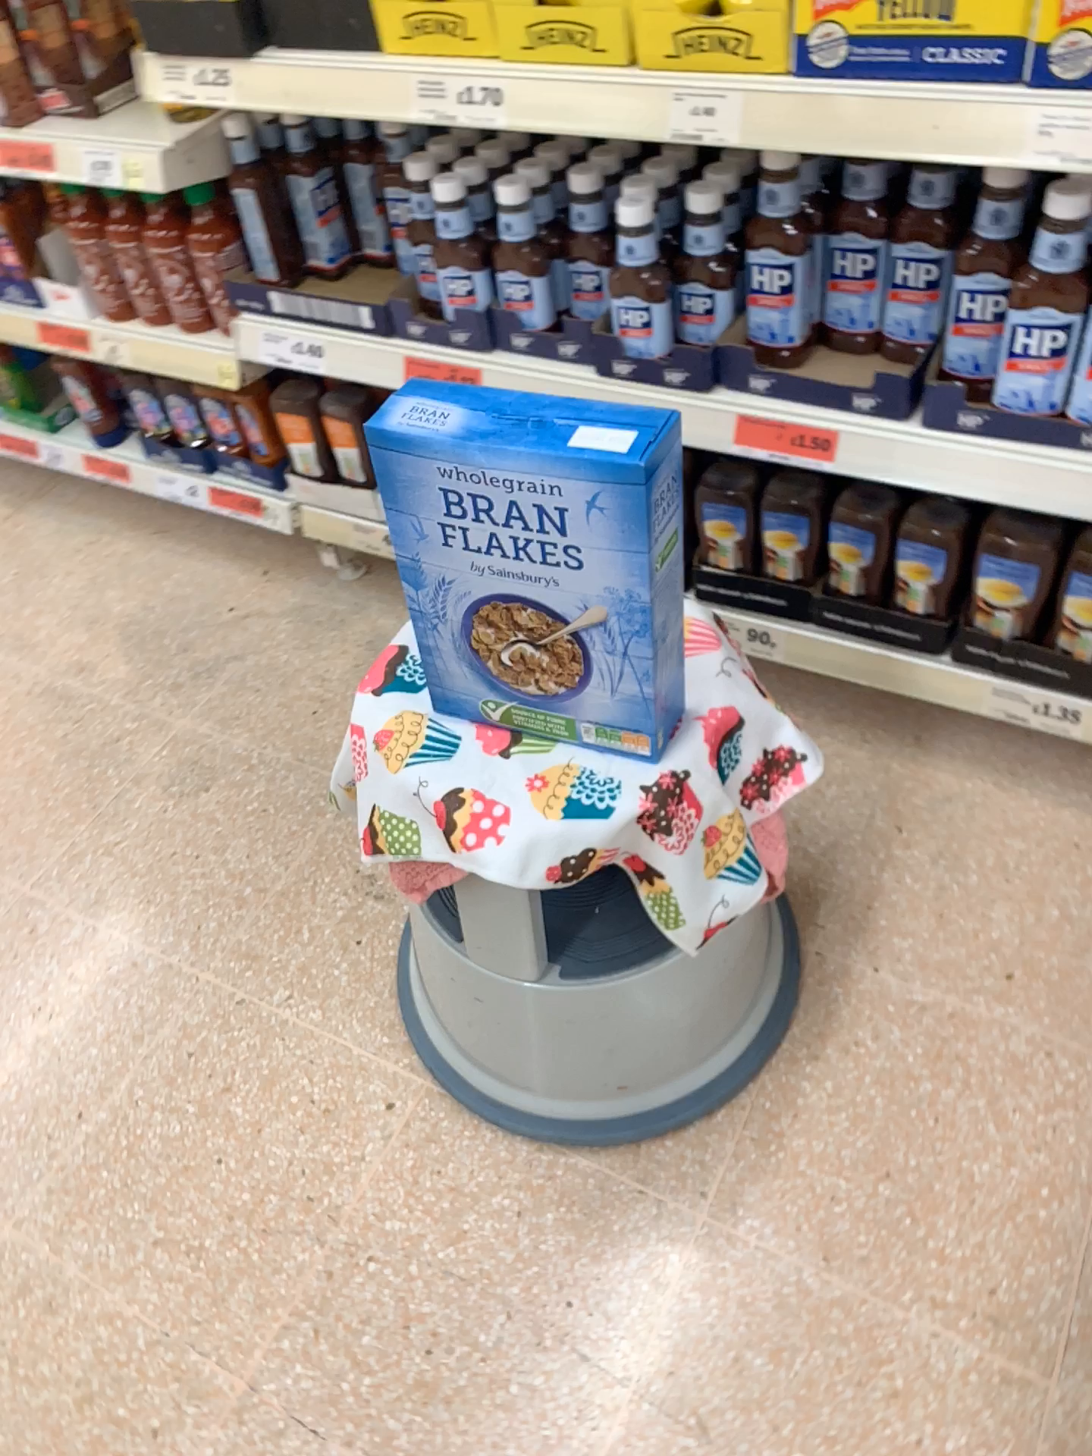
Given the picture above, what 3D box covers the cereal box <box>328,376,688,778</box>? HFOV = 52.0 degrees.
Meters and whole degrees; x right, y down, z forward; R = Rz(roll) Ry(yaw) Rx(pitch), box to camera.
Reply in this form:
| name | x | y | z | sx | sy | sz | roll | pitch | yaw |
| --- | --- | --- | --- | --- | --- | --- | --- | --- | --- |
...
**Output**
| name | x | y | z | sx | sy | sz | roll | pitch | yaw |
| --- | --- | --- | --- | --- | --- | --- | --- | --- | --- |
| cereal box | -0.015 | -0.103 | 0.799 | 0.210 | 0.258 | 0.081 | 13 | 49 | 21 |
